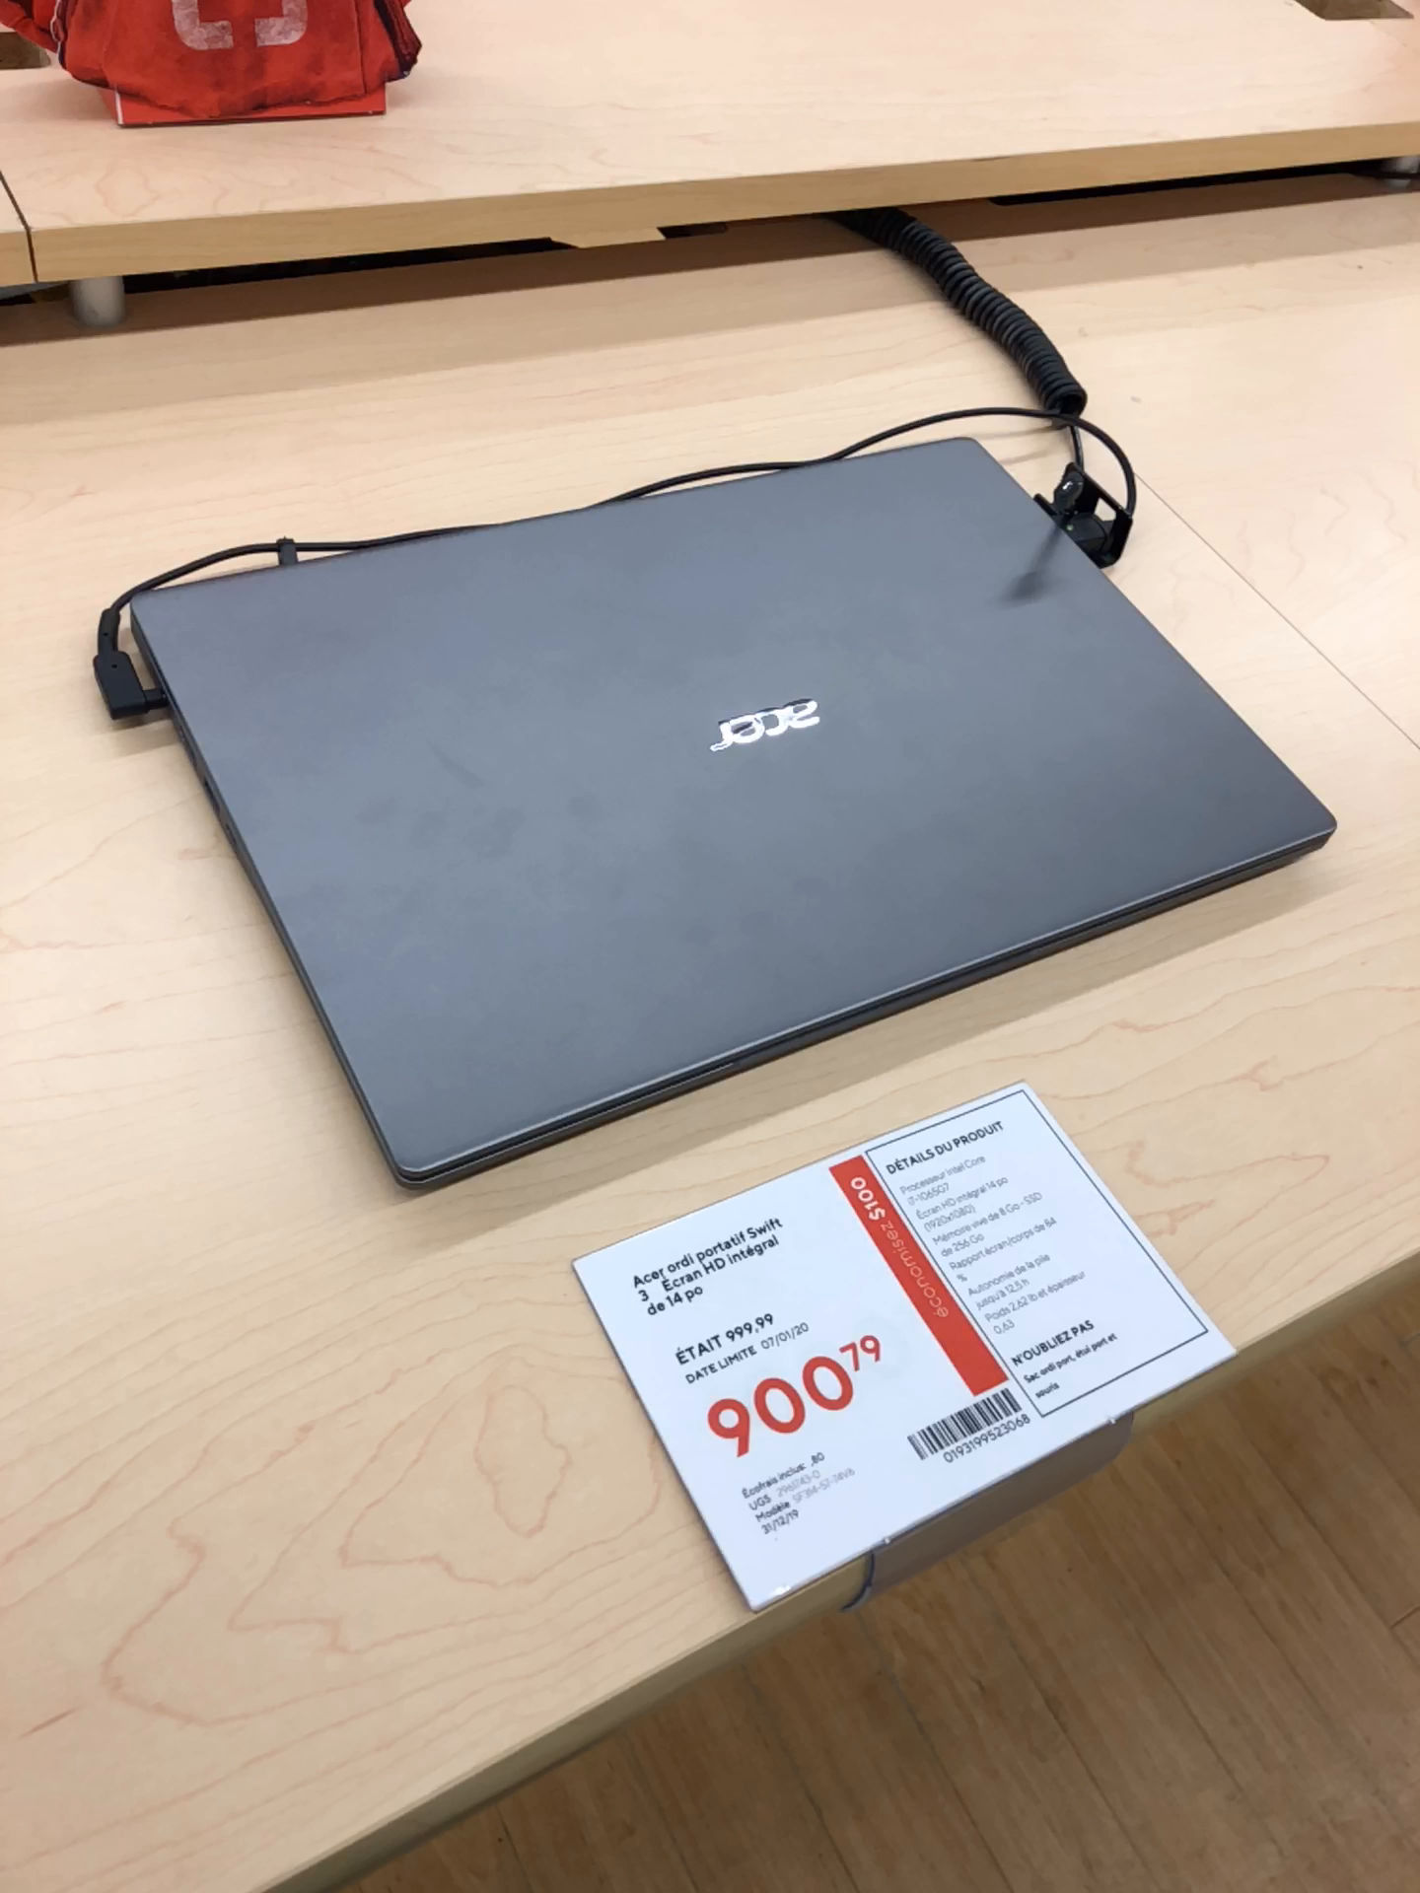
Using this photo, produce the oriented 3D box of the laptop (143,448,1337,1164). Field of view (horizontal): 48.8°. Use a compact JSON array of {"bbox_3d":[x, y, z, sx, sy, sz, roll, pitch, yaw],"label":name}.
[{"bbox_3d":[0.016,-0.068,0.471,0.307,0.001,0.201,-18,58,-26],"label":"laptop"}]
